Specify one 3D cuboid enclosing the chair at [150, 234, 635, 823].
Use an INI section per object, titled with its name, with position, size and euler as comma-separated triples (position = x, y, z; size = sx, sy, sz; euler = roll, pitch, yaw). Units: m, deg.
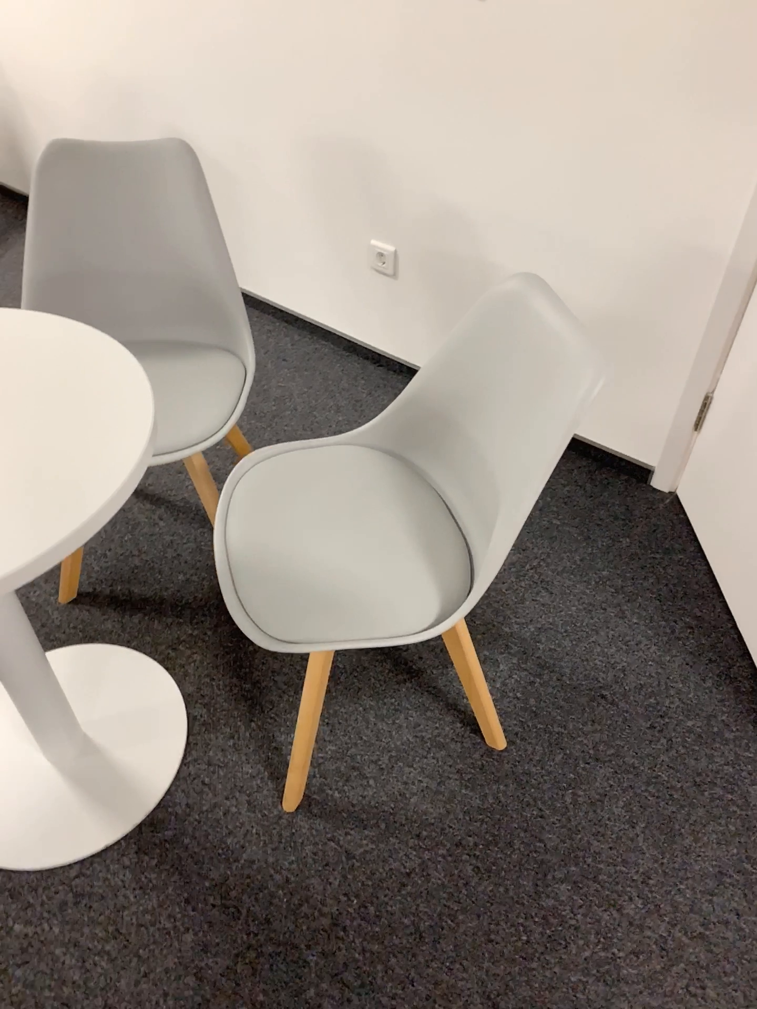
[chair]
position = -0.020, 0.067, 1.265
size = 0.522, 0.810, 0.445
euler = -10, 45, -11
